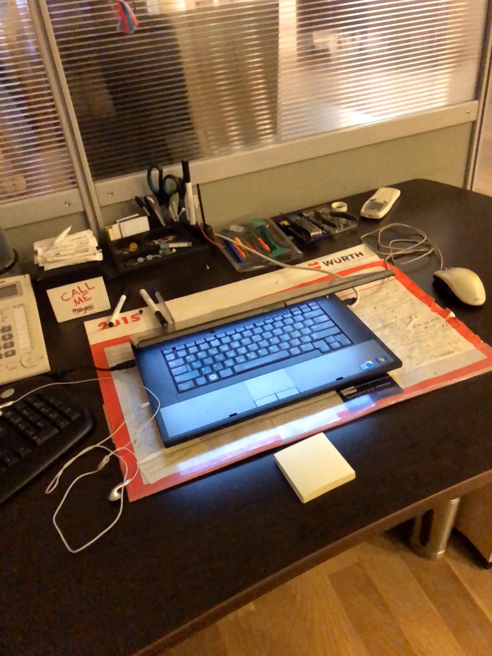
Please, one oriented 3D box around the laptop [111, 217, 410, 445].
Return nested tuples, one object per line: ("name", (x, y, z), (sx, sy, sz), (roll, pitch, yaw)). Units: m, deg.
("laptop", (0.013, -0.016, 0.800), (0.358, 0.141, 0.239), (-16, 37, -15))
